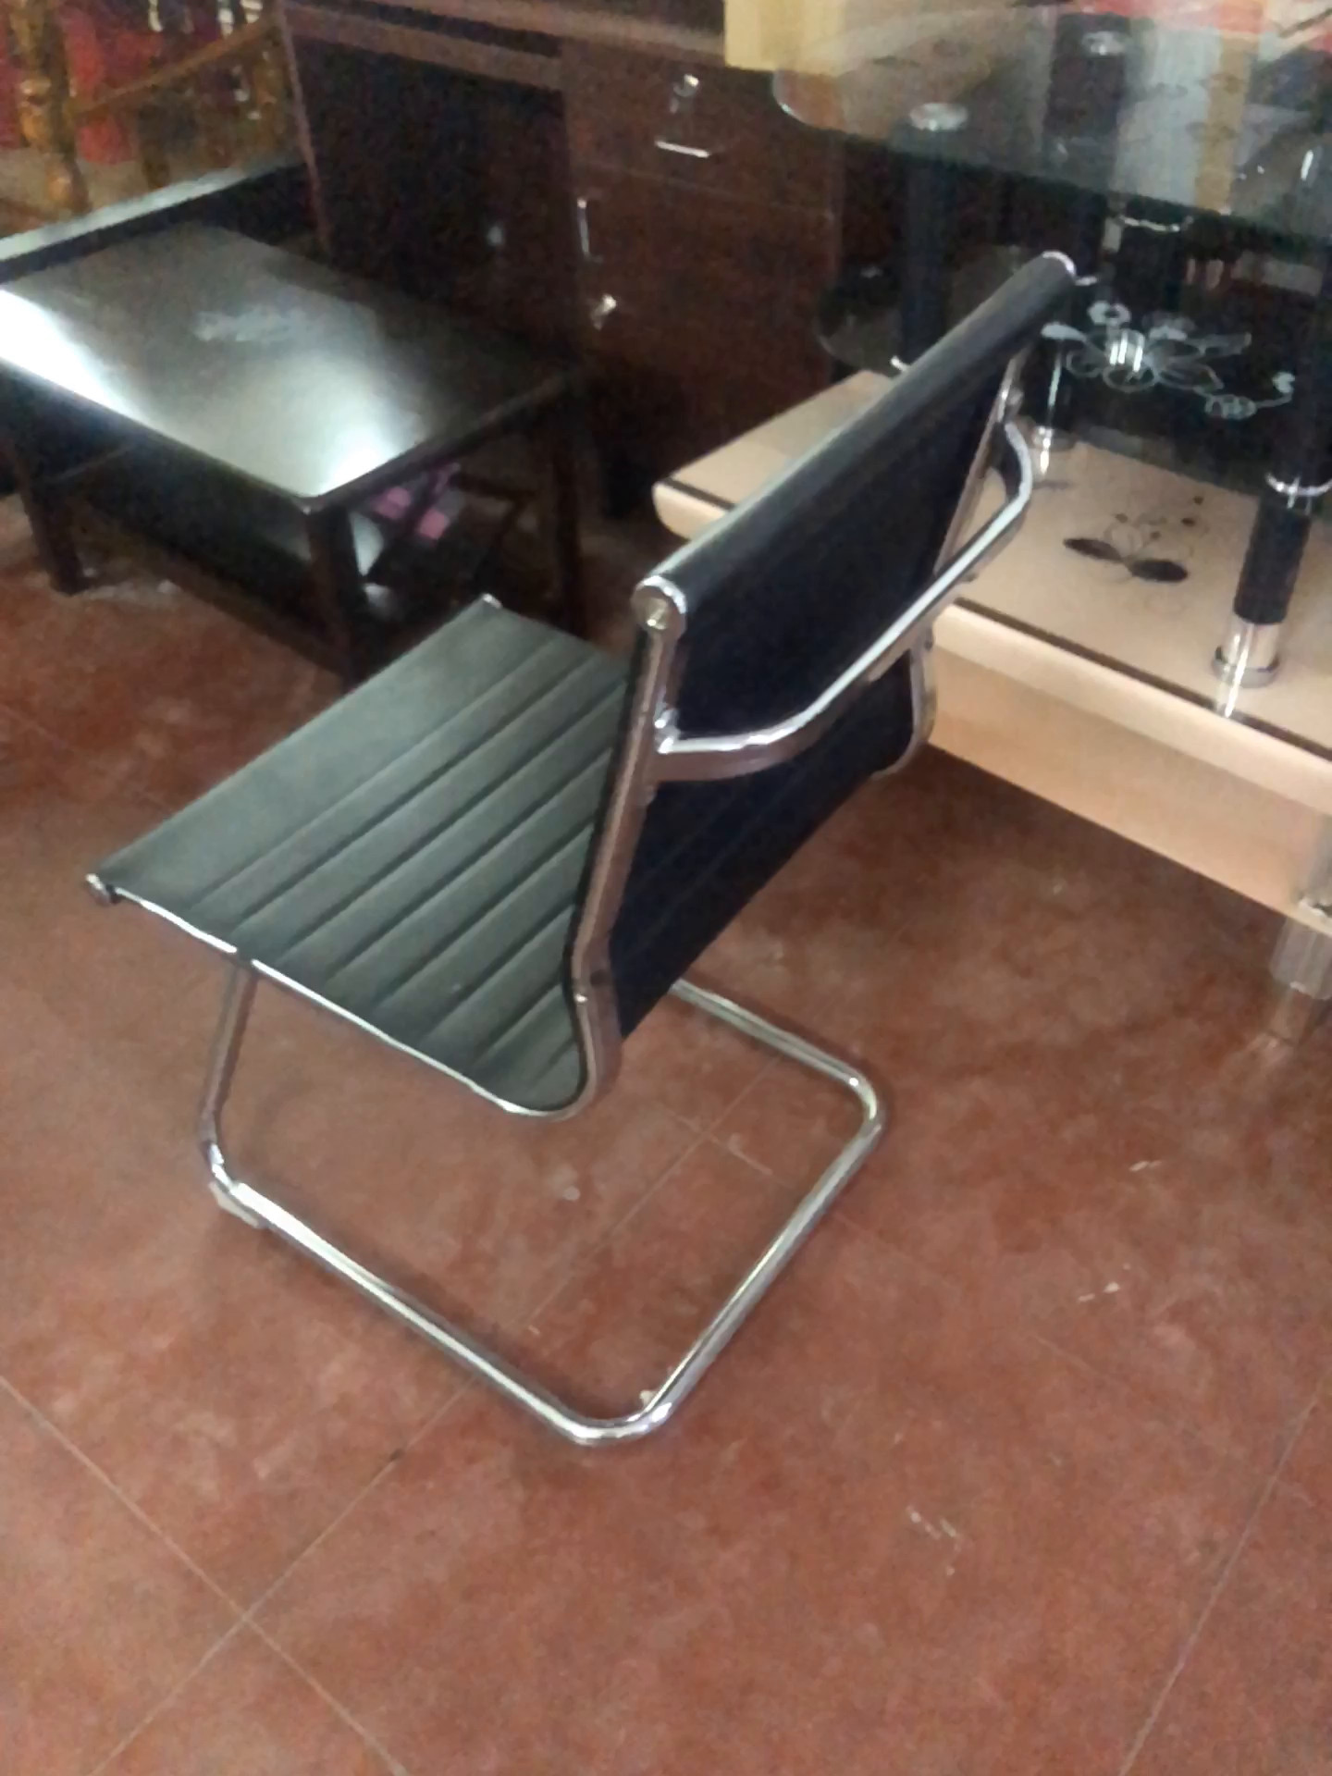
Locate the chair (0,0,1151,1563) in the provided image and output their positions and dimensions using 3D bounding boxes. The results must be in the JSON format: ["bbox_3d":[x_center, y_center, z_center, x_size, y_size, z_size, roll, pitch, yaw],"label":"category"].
[{"bbox_3d":[-0.147,-0.107,1.143,0.680,0.856,0.593,25,49,27],"label":"chair"}]
